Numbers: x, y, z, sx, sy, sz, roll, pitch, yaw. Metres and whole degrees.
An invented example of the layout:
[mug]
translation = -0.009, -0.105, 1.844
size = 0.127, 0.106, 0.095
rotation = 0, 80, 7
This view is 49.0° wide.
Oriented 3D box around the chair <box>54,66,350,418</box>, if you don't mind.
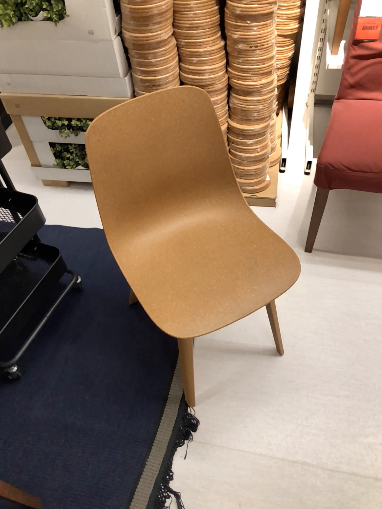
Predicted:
[chair]
translation = 0.013, -0.009, 1.215
size = 0.440, 0.745, 0.553
rotation = -25, 53, -15
